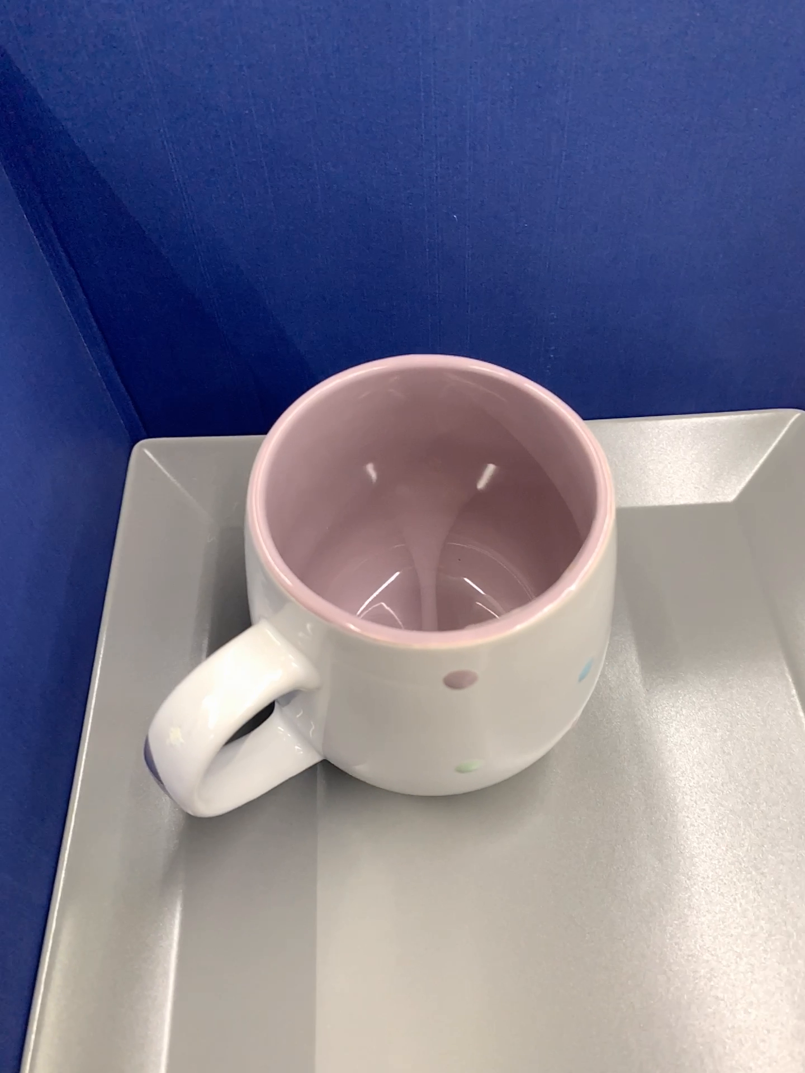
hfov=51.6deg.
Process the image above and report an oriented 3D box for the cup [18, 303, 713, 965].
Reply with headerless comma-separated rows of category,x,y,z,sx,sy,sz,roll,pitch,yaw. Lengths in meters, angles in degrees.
cup,-0.007,0.022,0.229,0.130,0.088,0.097,-34,58,-20
